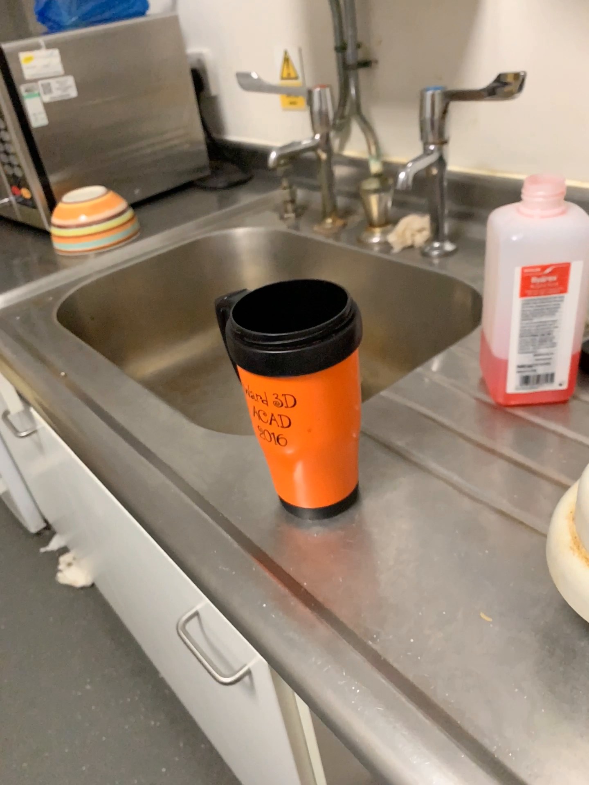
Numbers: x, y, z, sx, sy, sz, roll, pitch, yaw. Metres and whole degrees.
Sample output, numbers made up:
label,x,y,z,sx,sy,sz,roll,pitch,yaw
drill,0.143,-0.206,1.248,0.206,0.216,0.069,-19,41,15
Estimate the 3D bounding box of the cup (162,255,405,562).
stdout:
label,x,y,z,sx,sy,sz,roll,pitch,yaw
cup,-0.004,0.006,0.445,0.090,0.164,0.135,-31,39,-30
